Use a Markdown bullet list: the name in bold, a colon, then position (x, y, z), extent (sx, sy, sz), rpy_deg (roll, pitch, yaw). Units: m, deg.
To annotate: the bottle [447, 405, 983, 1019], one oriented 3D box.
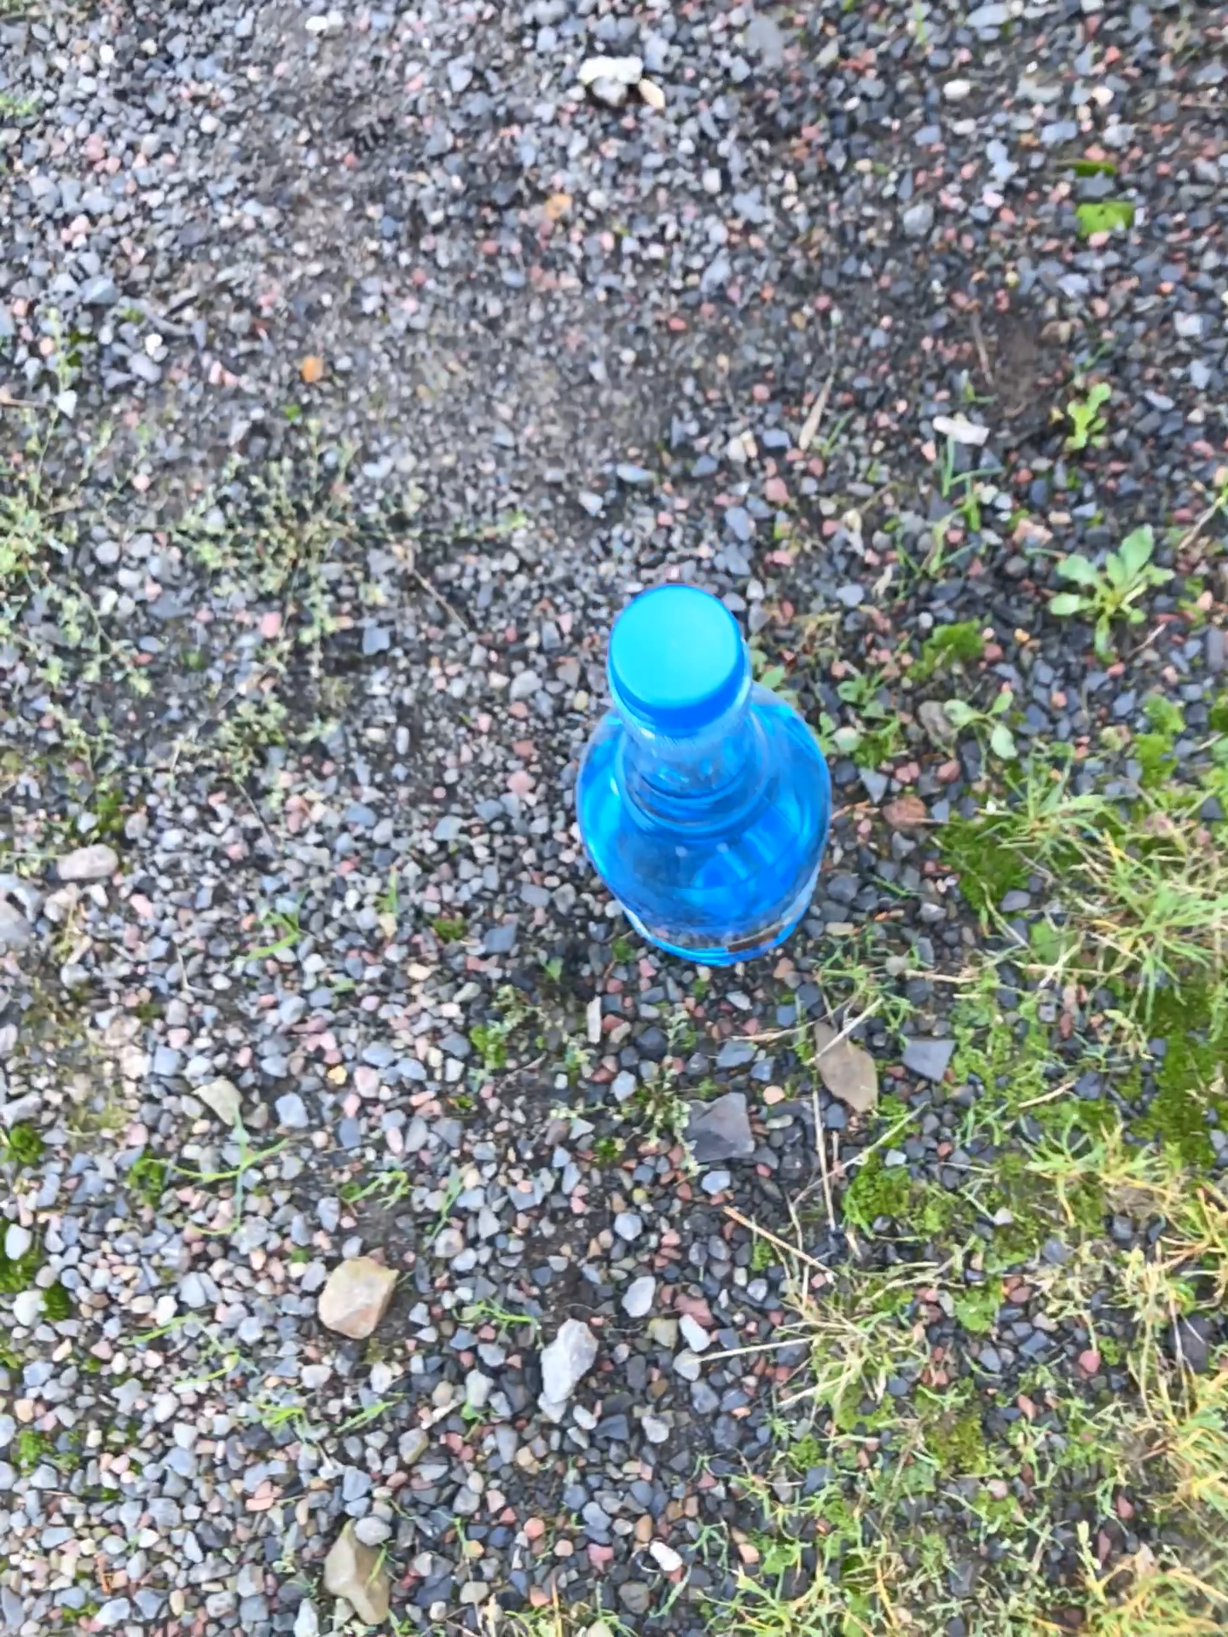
- **bottle**: position (0.032, -0.005, 0.445), extent (0.110, 0.300, 0.110), rpy_deg (-1, 77, 3)
